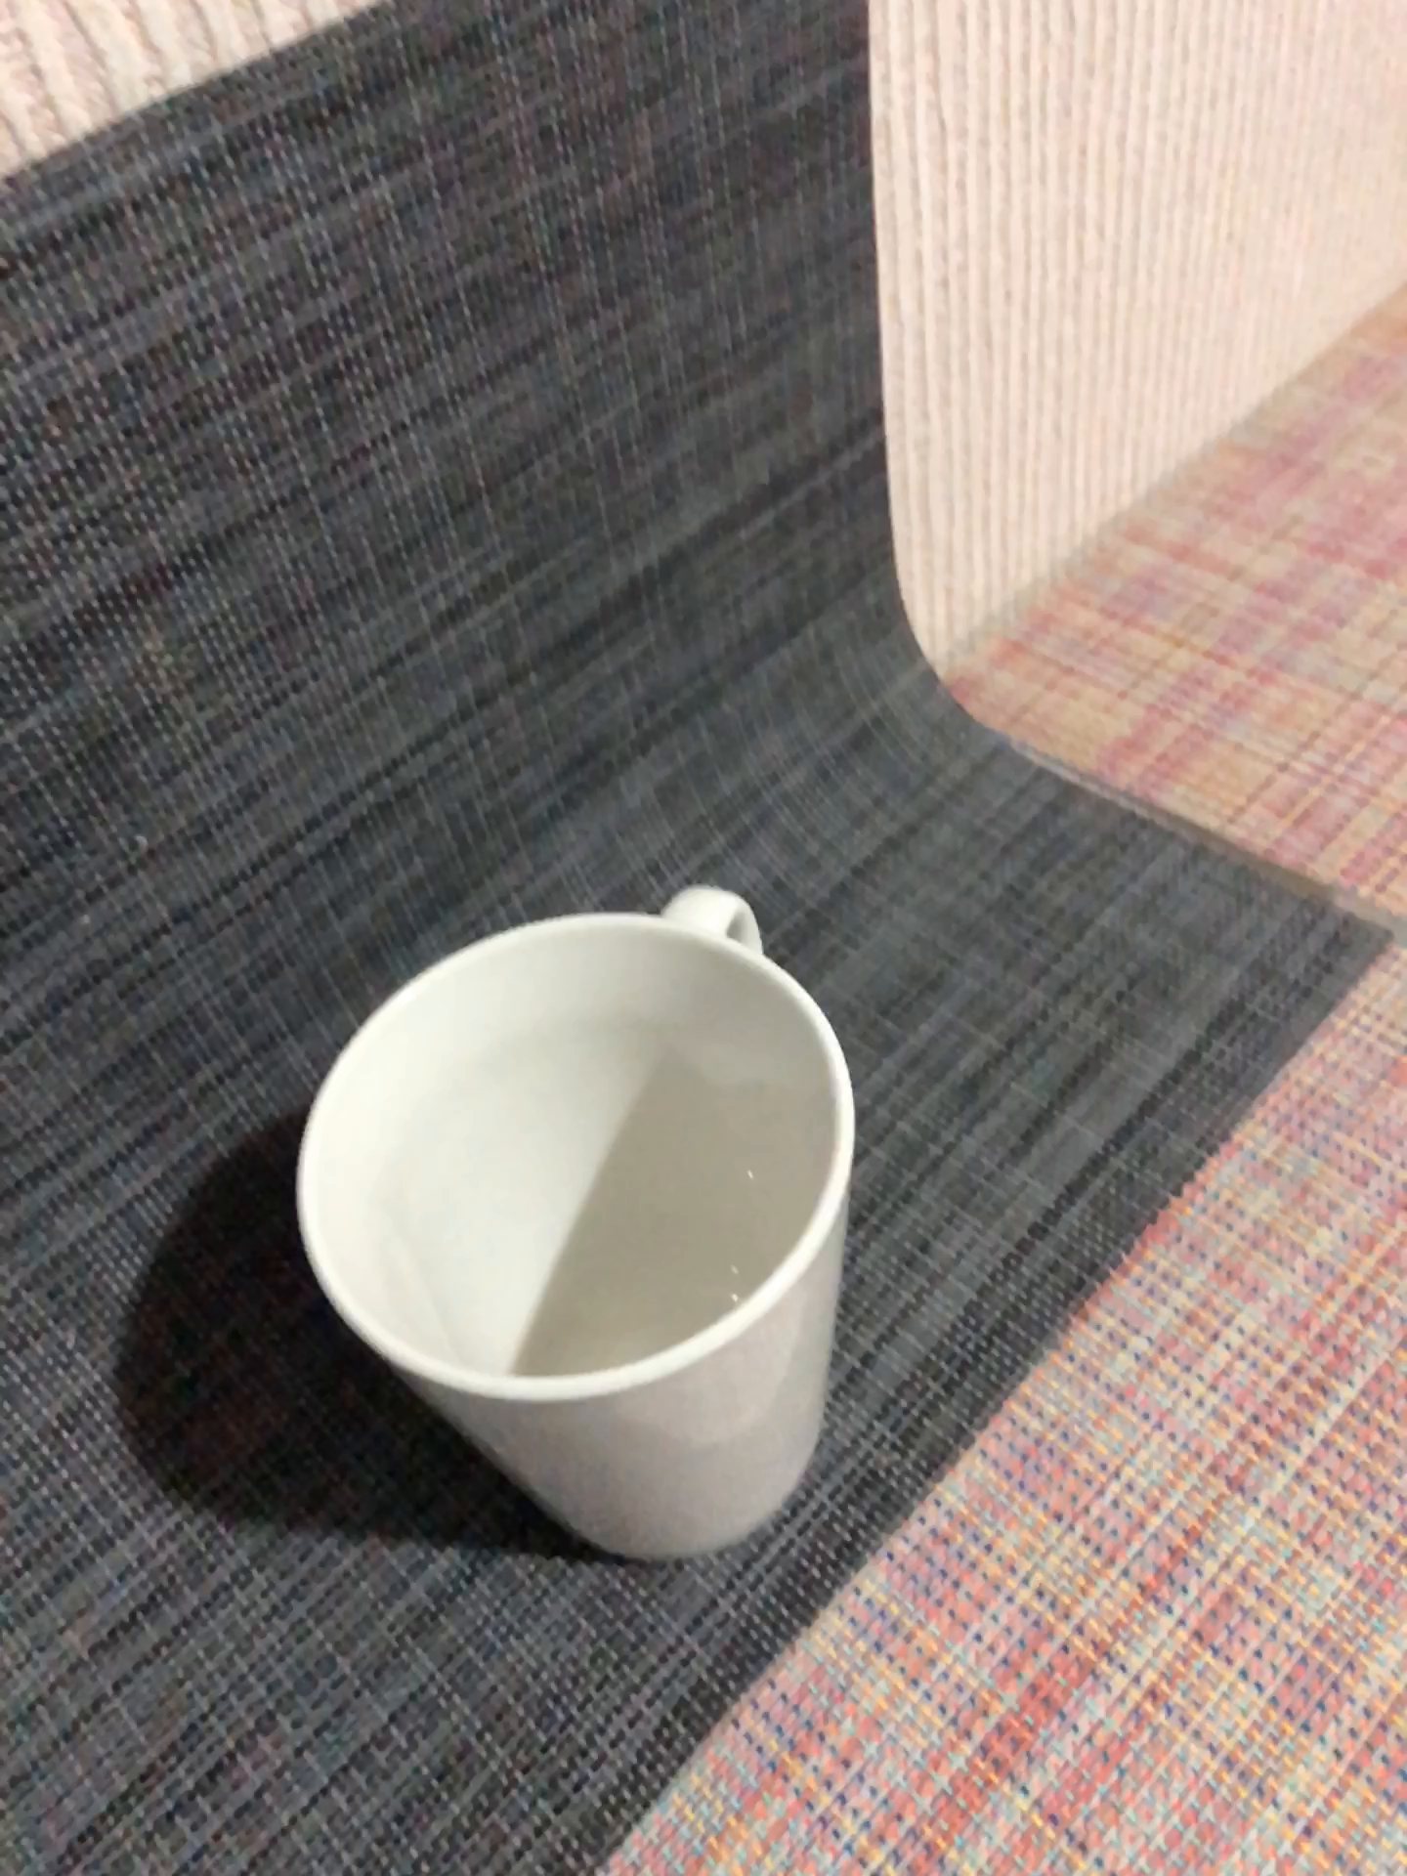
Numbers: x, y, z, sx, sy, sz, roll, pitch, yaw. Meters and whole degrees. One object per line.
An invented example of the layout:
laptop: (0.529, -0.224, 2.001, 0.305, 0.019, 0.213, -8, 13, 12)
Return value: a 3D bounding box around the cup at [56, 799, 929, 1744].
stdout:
cup: (-0.020, 0.053, 0.266, 0.096, 0.096, 0.112, 5, 50, 15)
